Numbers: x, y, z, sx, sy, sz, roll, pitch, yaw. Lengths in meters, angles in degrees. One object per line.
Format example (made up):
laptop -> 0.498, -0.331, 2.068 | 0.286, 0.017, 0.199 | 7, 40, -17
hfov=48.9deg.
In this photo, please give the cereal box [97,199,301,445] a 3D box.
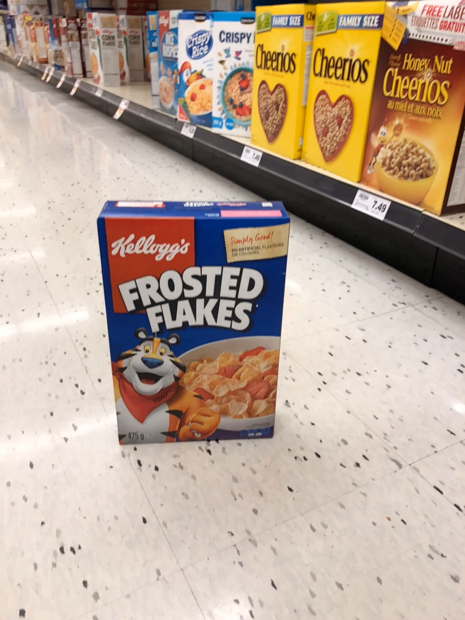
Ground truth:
cereal box -> -0.039, 0.021, 0.601 | 0.200, 0.288, 0.070 | -1, 28, -5
